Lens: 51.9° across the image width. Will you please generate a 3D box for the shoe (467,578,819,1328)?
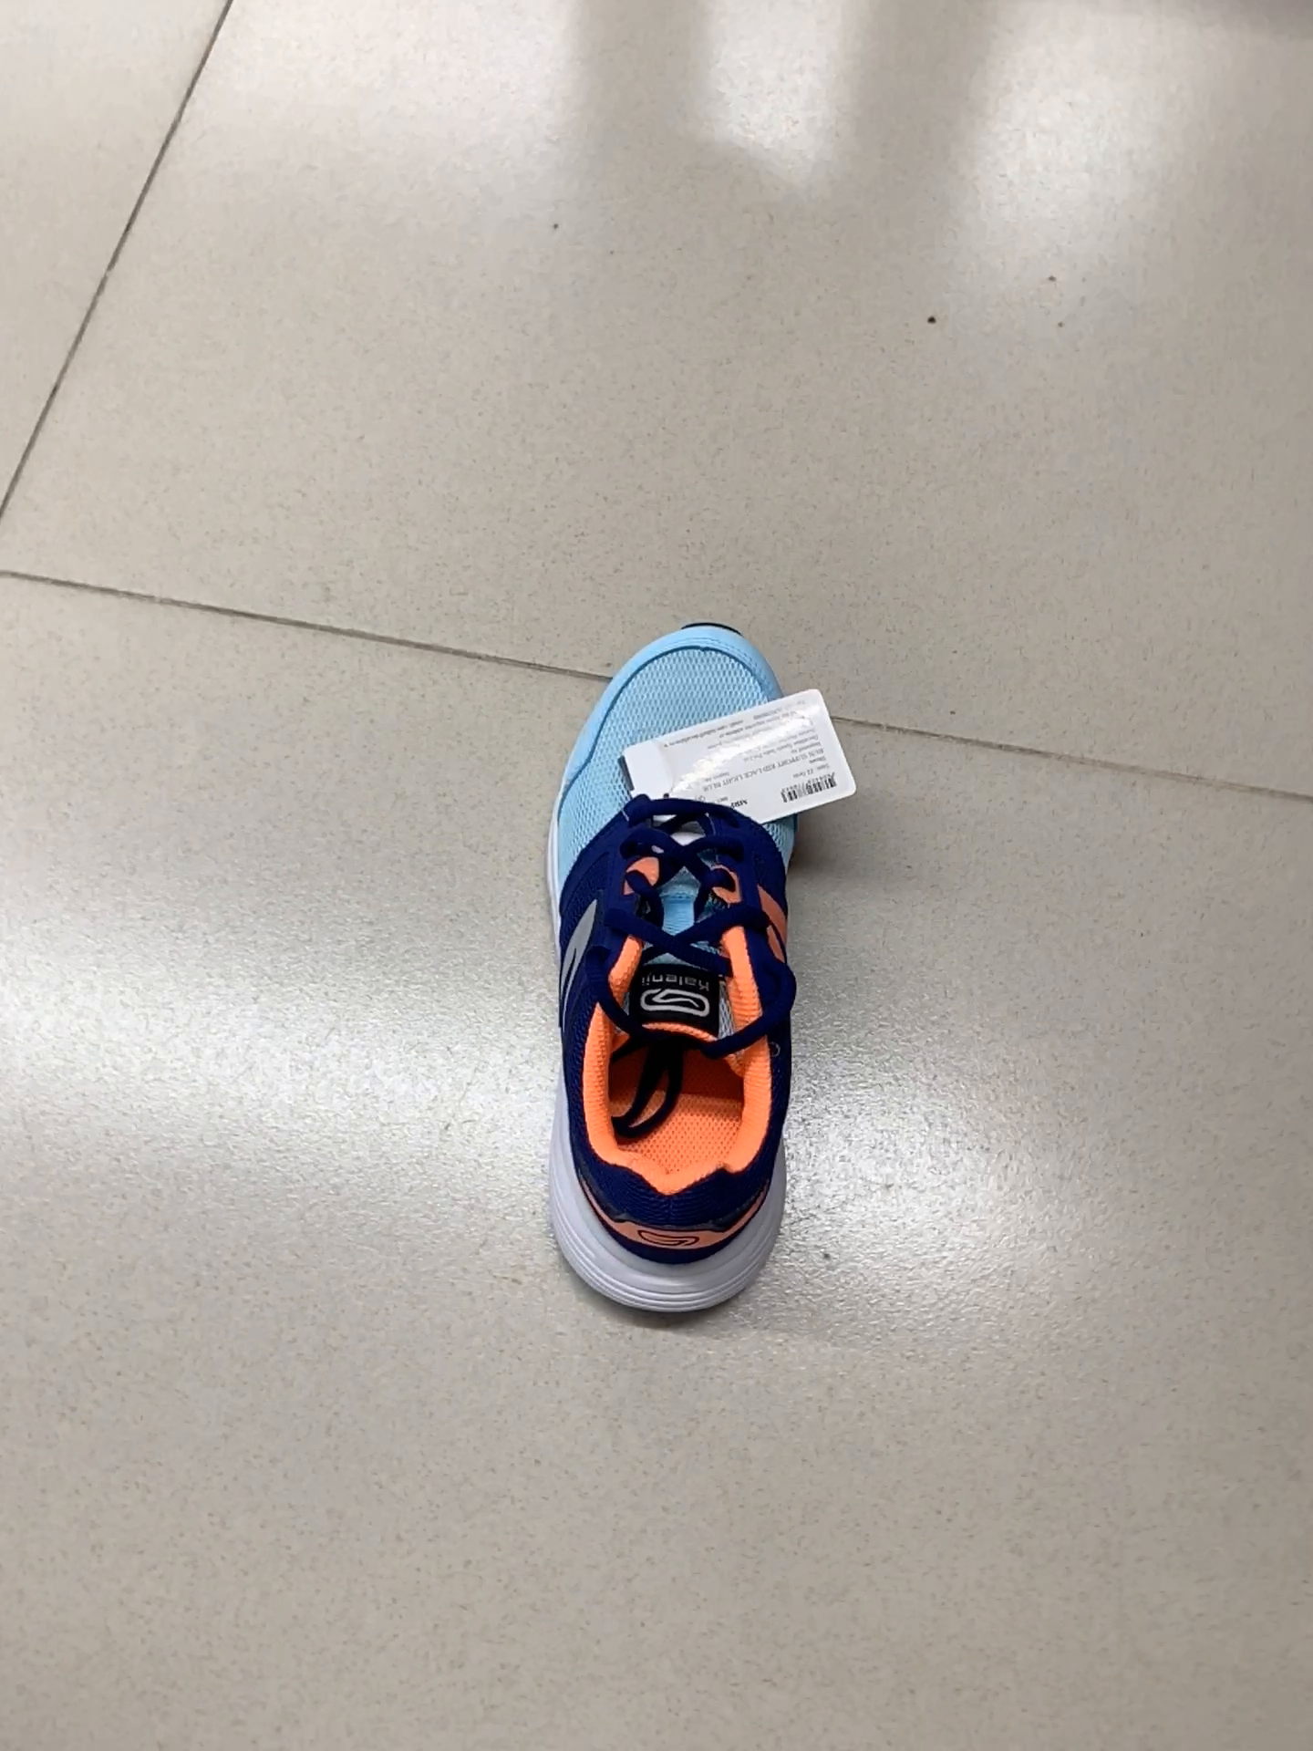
[{"bbox_3d":[0.001,0.025,0.464,0.100,0.080,0.240,3,68,0],"label":"shoe"}]
